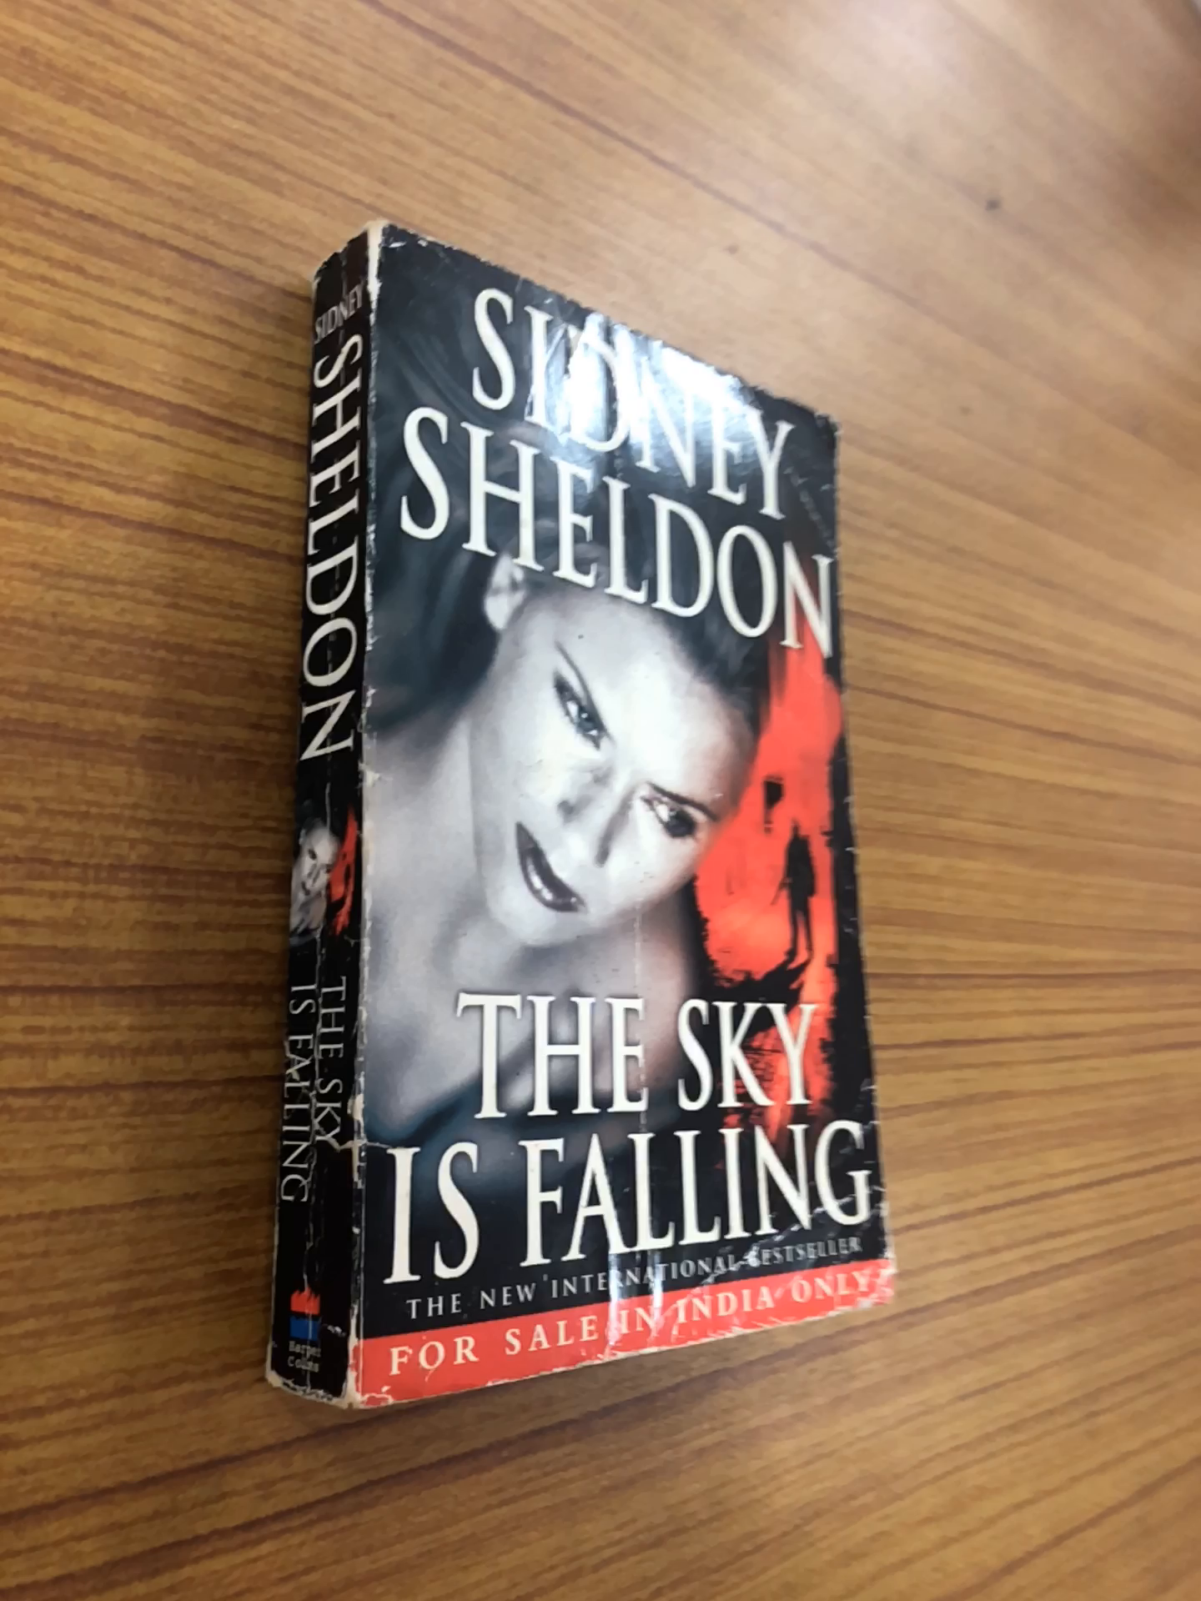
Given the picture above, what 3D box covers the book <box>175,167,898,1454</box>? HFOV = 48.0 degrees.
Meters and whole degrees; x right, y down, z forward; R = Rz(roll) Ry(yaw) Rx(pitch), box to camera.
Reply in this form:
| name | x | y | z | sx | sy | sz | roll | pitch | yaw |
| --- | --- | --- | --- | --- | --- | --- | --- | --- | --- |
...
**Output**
| name | x | y | z | sx | sy | sz | roll | pitch | yaw |
| --- | --- | --- | --- | --- | --- | --- | --- | --- | --- |
| book | -0.002 | 0.003 | 0.226 | 0.120 | 0.030 | 0.170 | 10 | 75 | -41 |
